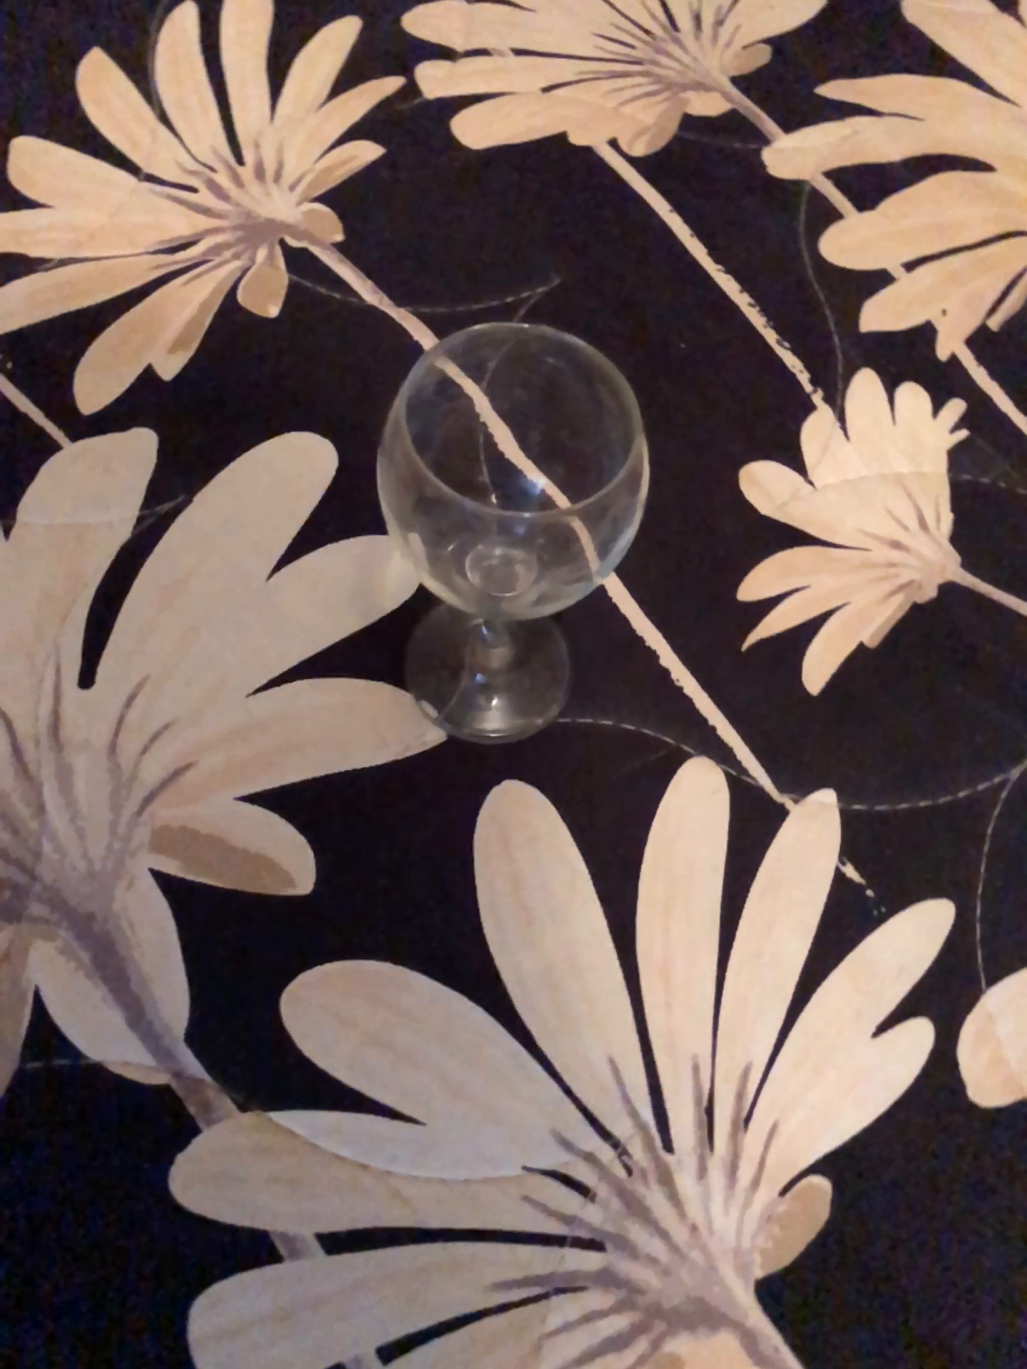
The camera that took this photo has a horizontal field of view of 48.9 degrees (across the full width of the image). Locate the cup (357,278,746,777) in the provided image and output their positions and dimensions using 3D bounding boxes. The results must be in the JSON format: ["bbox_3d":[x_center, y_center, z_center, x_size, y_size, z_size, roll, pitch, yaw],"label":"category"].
[{"bbox_3d":[0.002,-0.041,0.355,0.084,0.139,0.082,2,65,-5],"label":"cup"}]
